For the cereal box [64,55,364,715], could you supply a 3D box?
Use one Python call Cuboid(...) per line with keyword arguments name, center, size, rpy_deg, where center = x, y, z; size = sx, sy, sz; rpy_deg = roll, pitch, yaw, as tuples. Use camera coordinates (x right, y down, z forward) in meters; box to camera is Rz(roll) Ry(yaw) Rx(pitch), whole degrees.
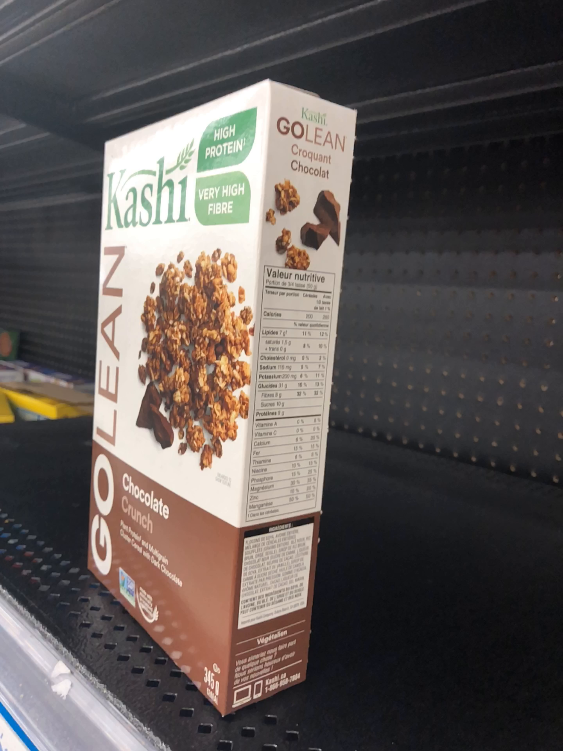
Cuboid(name="cereal box", center=(-0.051, -0.002, 0.323), size=(0.050, 0.250, 0.180), rpy_deg=(0, 8, -37))
